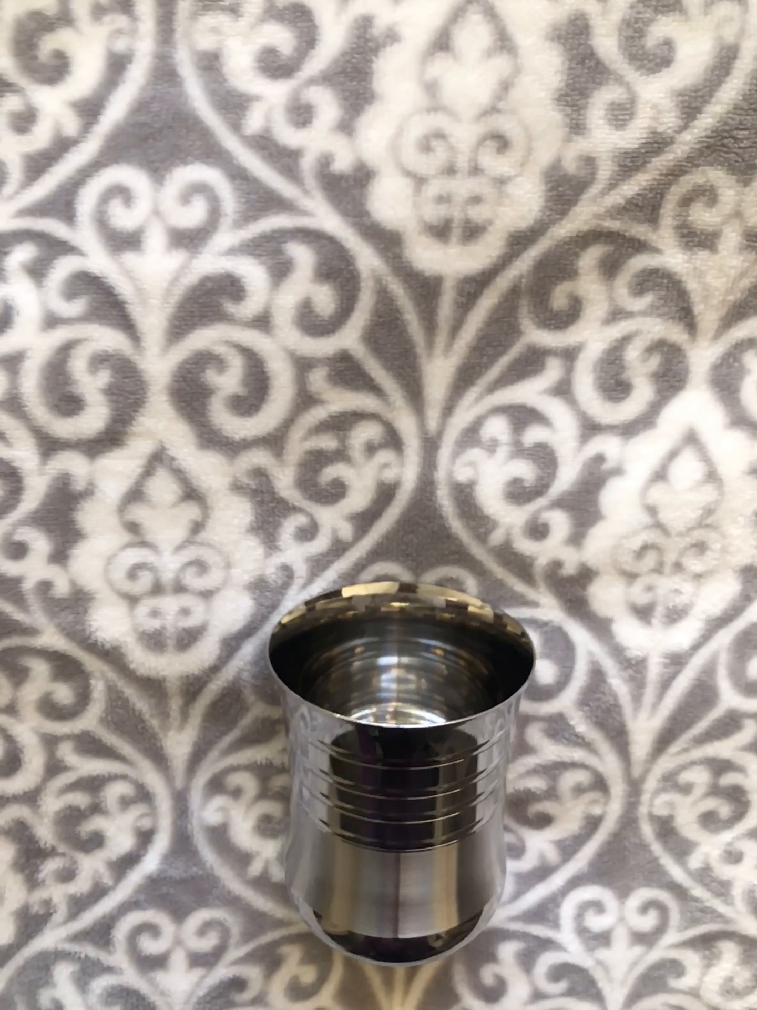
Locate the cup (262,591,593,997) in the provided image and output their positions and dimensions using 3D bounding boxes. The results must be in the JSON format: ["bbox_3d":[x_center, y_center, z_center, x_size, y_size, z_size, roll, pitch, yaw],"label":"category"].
[{"bbox_3d":[0.010,0.077,0.241,0.077,0.066,0.086,0,106,-2],"label":"cup"}]
